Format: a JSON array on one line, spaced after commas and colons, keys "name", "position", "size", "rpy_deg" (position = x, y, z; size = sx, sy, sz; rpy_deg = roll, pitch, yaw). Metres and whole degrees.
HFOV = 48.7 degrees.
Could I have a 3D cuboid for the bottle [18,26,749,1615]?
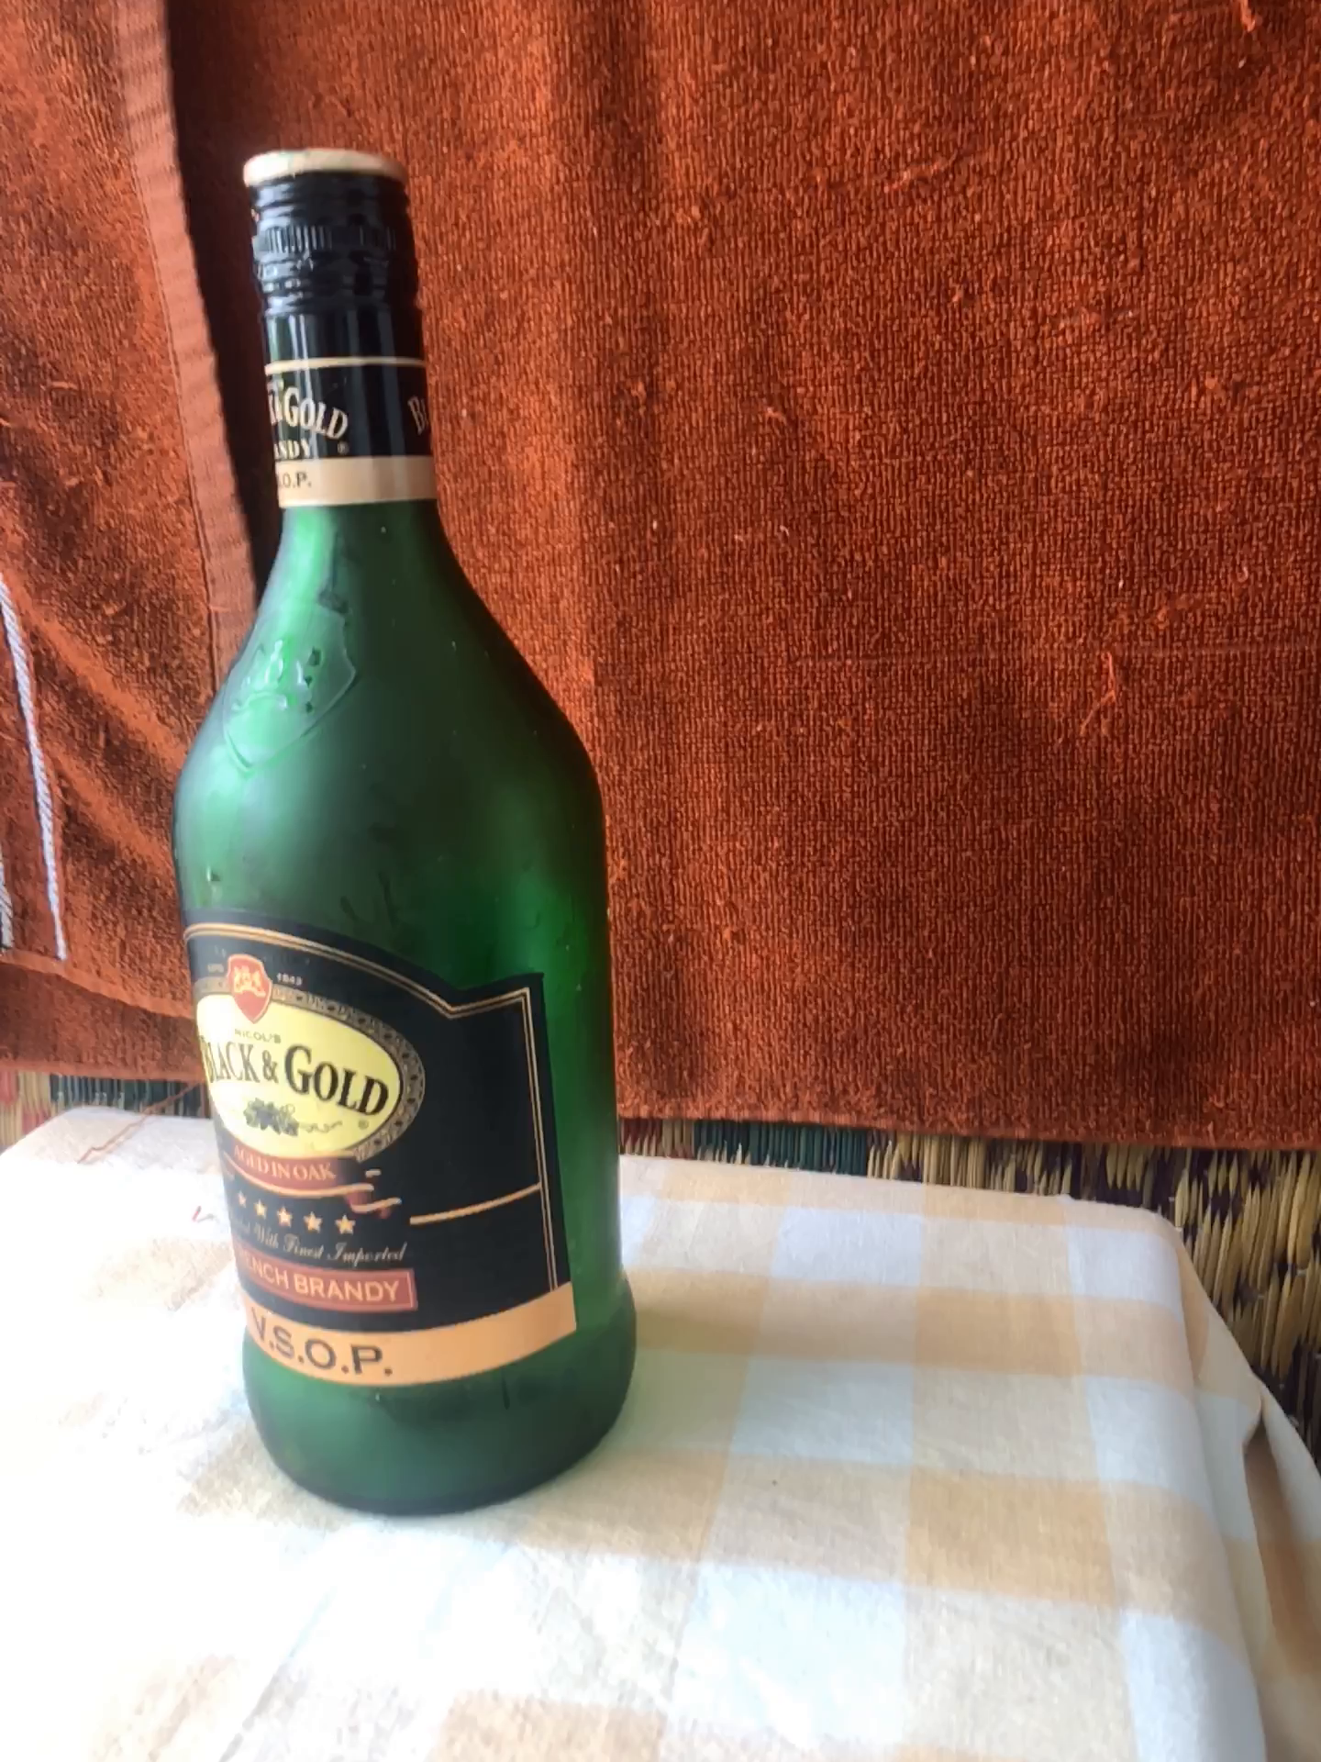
[{"name": "bottle", "position": [-0.043, -0.006, 0.287], "size": [0.090, 0.259, 0.080], "rpy_deg": [8, 18, 29]}]
